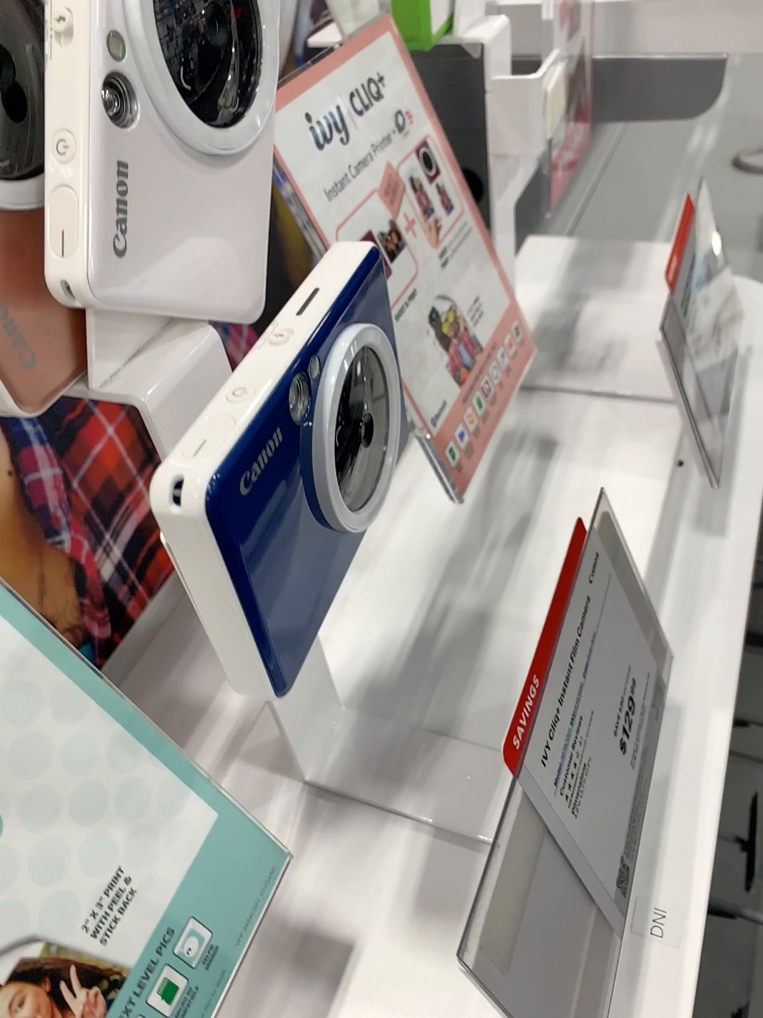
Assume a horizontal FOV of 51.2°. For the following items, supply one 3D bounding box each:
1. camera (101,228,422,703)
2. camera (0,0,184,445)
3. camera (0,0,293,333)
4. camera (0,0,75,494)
[{"bbox_3d":[-0.022,-0.018,0.225,0.028,0.070,0.120,8,46,18],"label":"camera"},{"bbox_3d":[-0.096,-0.088,0.189,0.028,0.119,0.078,8,46,19],"label":"camera"},{"bbox_3d":[-0.058,-0.110,0.209,0.028,0.120,0.078,9,12,23],"label":"camera"},{"bbox_3d":[-0.122,-0.060,0.169,0.028,0.110,0.078,8,74,17],"label":"camera"}]
